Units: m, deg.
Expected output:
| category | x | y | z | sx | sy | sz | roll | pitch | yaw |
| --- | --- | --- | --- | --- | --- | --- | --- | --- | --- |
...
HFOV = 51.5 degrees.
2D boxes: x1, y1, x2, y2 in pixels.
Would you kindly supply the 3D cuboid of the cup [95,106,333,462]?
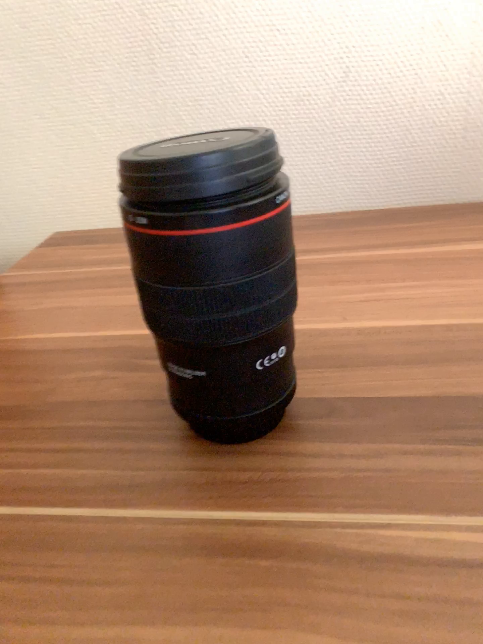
| category | x | y | z | sx | sy | sz | roll | pitch | yaw |
| --- | --- | --- | --- | --- | --- | --- | --- | --- | --- |
| cup | -0.008 | -0.018 | 0.236 | 0.080 | 0.139 | 0.070 | -10 | 29 | -5 |
